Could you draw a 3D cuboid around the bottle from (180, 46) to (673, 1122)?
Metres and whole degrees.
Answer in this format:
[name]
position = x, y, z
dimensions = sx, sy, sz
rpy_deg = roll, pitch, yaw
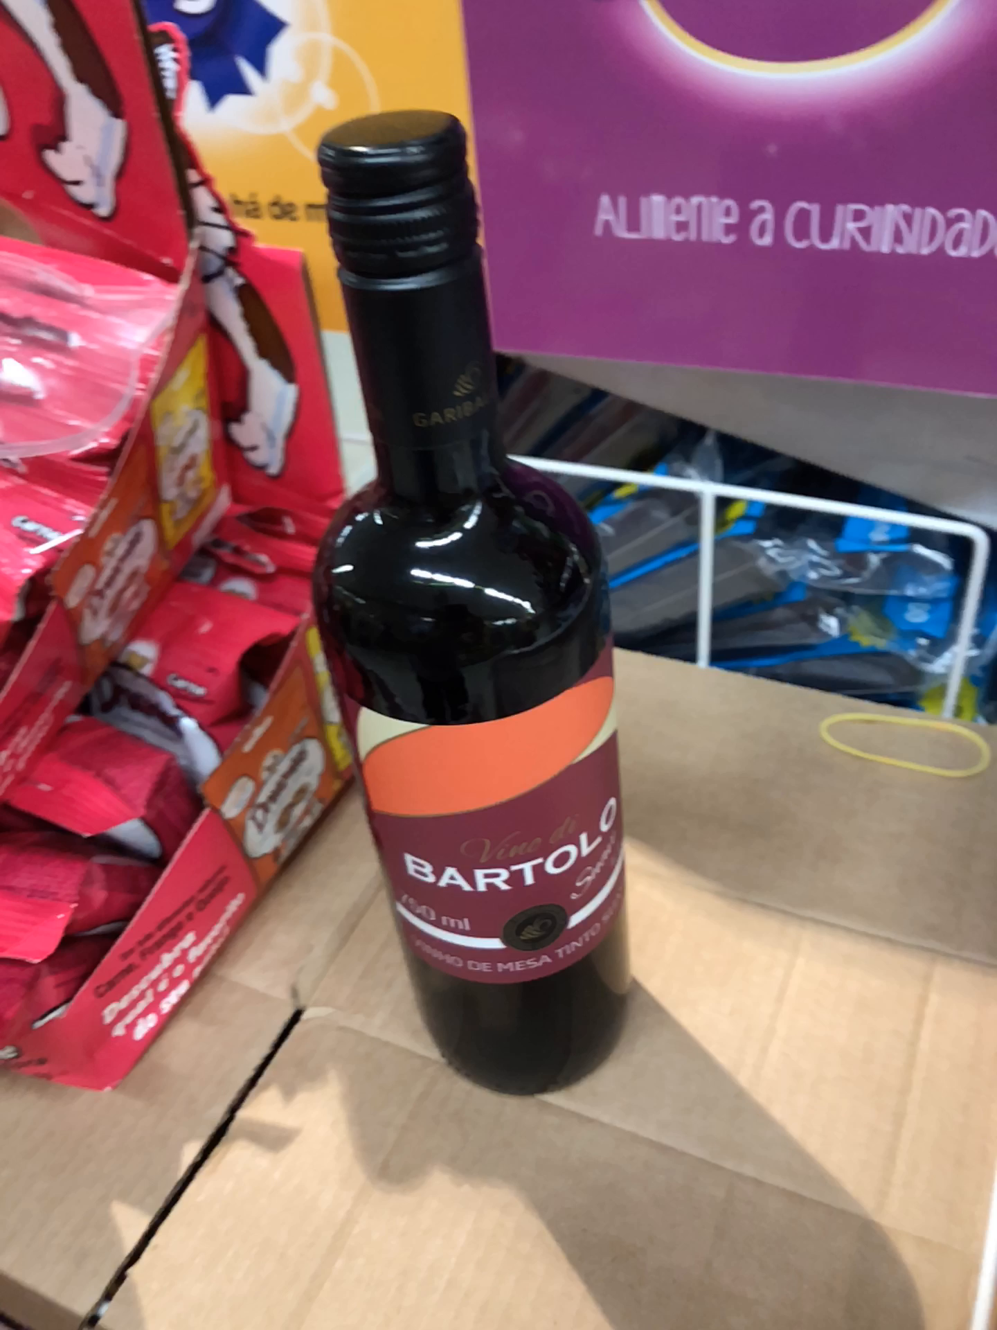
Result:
[bottle]
position = -0.002, 0.011, 0.302
dimensions = 0.080, 0.298, 0.060
rpy_deg = -12, 40, -5
